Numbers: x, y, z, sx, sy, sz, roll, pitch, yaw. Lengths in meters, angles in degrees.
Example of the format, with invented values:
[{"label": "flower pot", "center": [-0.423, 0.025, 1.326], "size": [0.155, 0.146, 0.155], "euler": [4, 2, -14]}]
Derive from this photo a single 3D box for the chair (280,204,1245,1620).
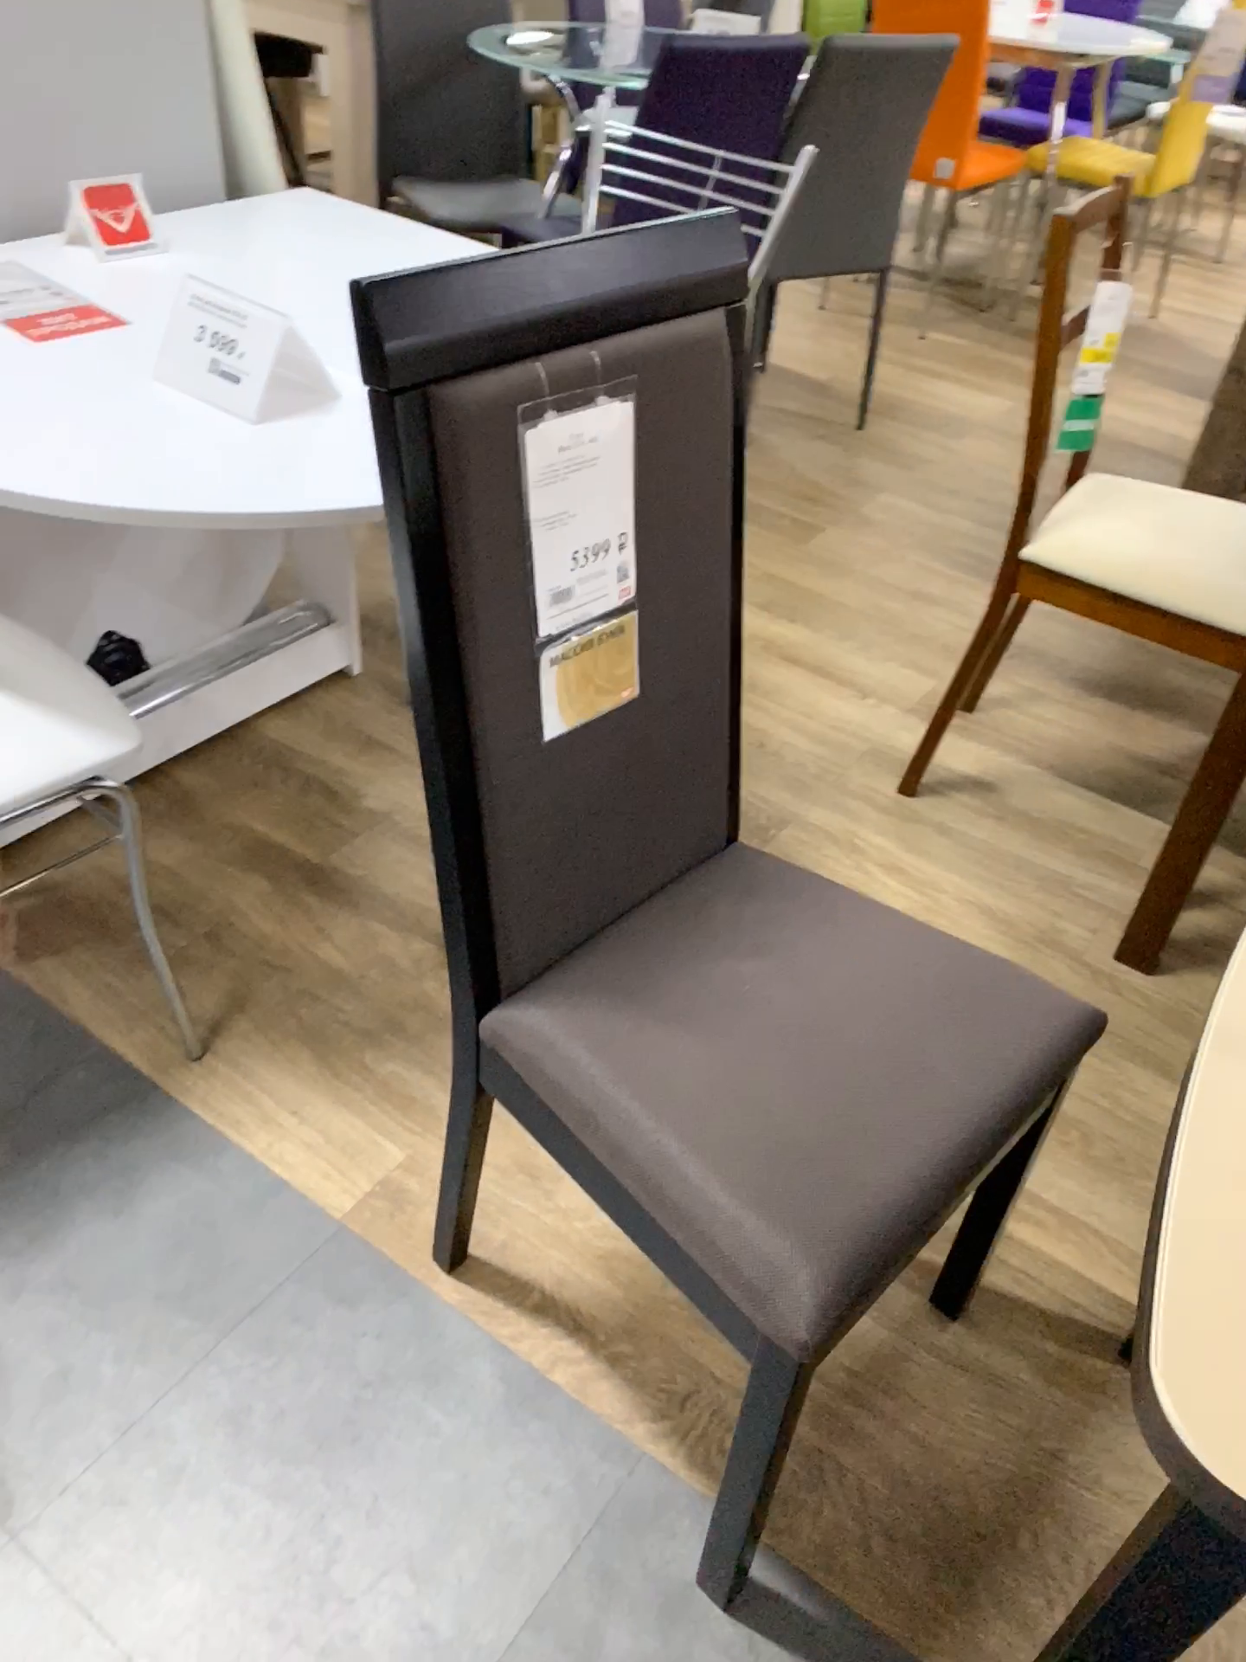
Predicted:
[{"label": "chair", "center": [0.088, 0.099, 1.069], "size": [0.501, 0.994, 0.442], "euler": [34, 47, 30]}]
